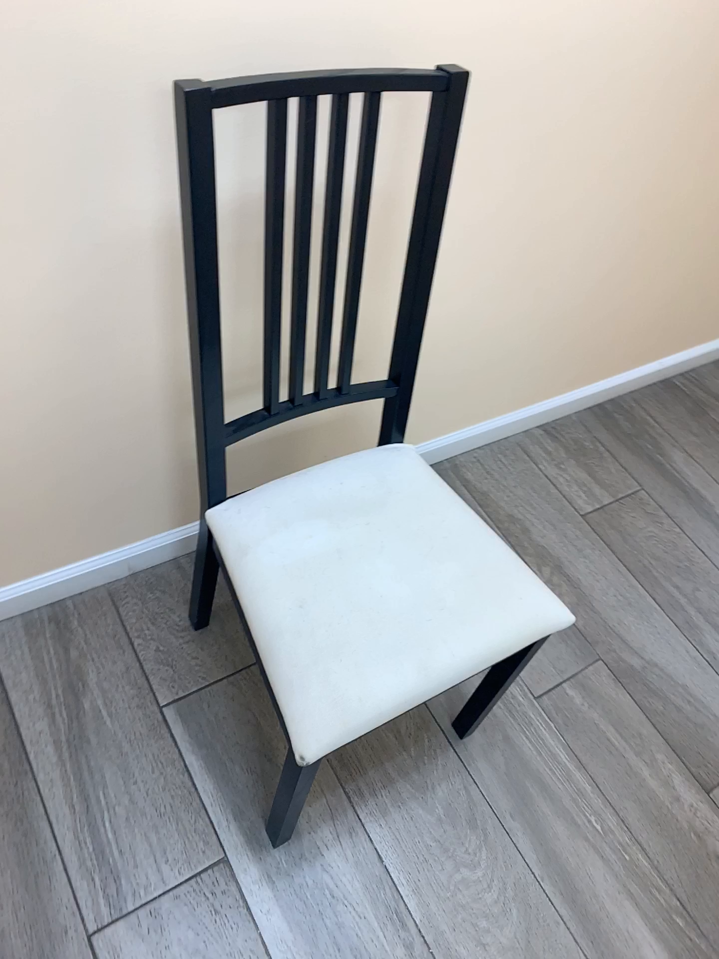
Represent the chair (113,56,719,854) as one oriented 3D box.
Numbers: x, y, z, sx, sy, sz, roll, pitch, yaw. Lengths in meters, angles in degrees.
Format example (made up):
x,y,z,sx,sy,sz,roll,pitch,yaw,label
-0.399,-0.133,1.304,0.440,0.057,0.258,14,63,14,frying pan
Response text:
x,y,z,sx,sy,sz,roll,pitch,yaw,label
0.000,0.047,1.010,0.439,0.963,0.498,-20,58,-27,chair
